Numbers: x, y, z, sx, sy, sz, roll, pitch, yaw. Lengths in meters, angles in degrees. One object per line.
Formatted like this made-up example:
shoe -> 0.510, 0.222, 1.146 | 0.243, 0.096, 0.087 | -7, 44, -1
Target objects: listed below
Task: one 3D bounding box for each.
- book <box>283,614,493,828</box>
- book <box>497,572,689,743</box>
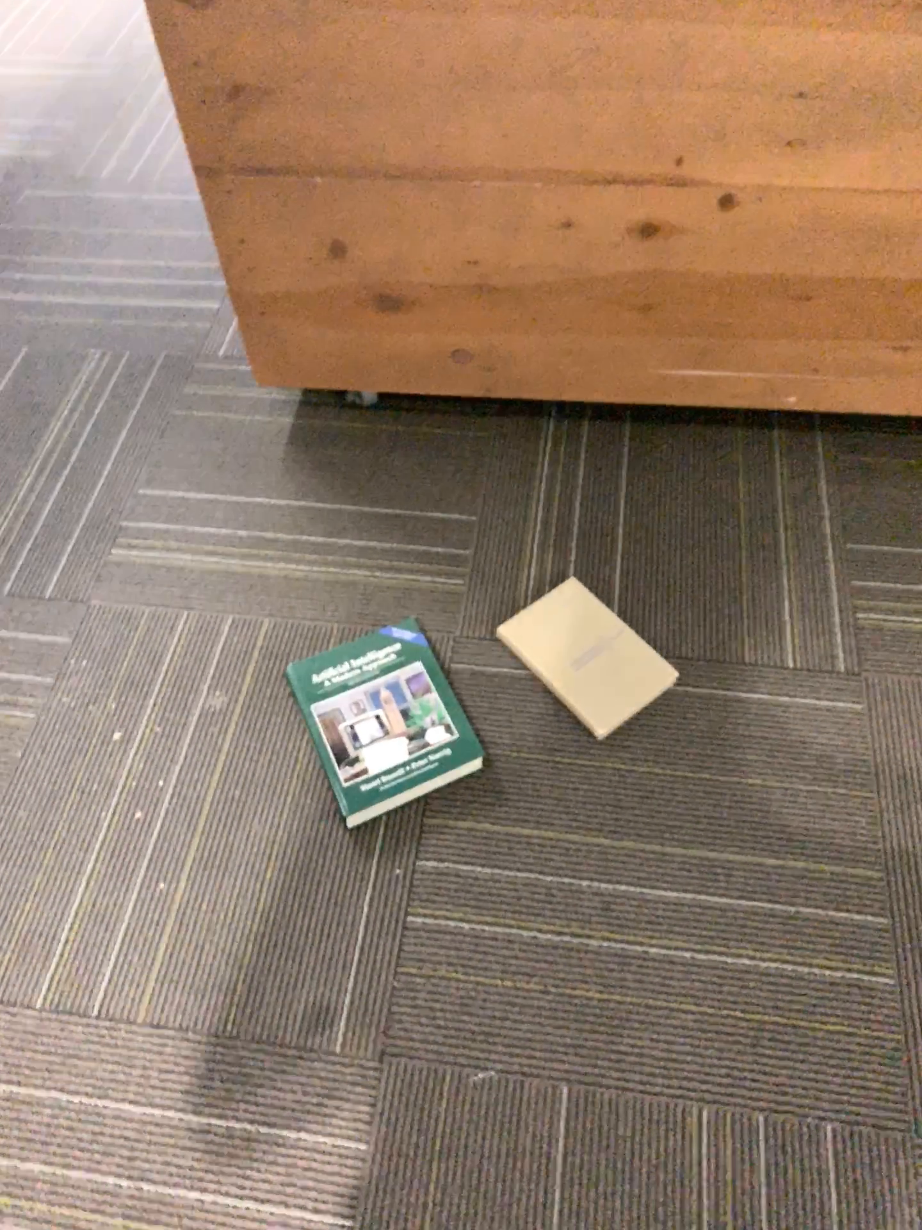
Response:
book -> -0.107, 0.141, 1.344 | 0.210, 0.030, 0.261 | -23, 56, -12
book -> 0.191, 0.057, 1.407 | 0.160, 0.020, 0.241 | -33, 59, -18
